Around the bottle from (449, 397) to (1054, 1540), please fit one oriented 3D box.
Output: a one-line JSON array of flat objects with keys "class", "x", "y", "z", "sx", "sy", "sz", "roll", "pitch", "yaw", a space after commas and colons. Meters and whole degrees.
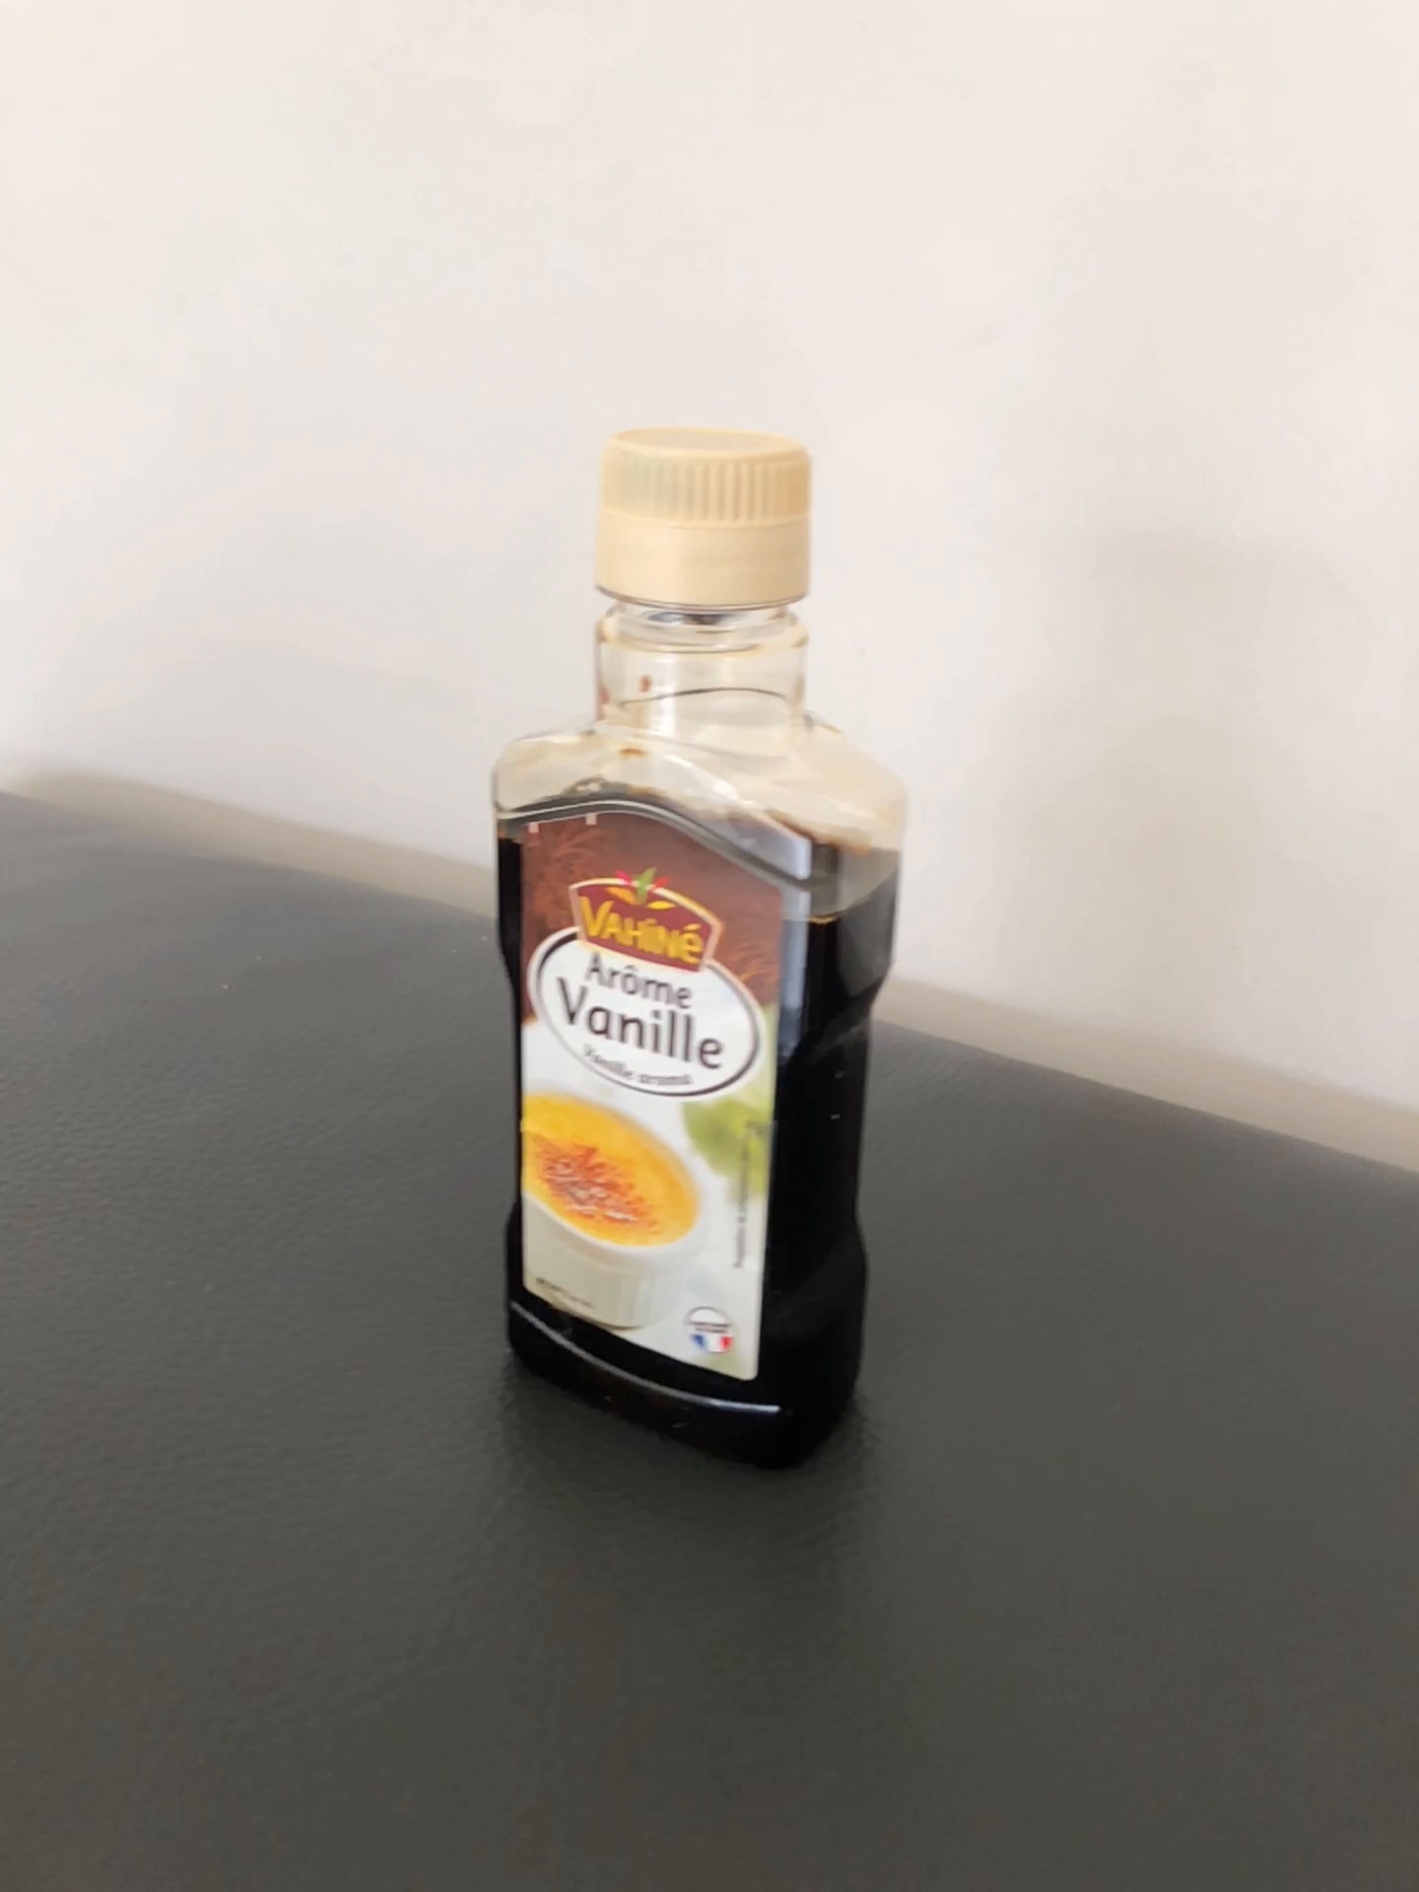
[{"class": "bottle", "x": 0.002, "y": 0.004, "z": 0.242, "sx": 0.070, "sy": 0.159, "sz": 0.040, "roll": 15, "pitch": 27, "yaw": 24}]
